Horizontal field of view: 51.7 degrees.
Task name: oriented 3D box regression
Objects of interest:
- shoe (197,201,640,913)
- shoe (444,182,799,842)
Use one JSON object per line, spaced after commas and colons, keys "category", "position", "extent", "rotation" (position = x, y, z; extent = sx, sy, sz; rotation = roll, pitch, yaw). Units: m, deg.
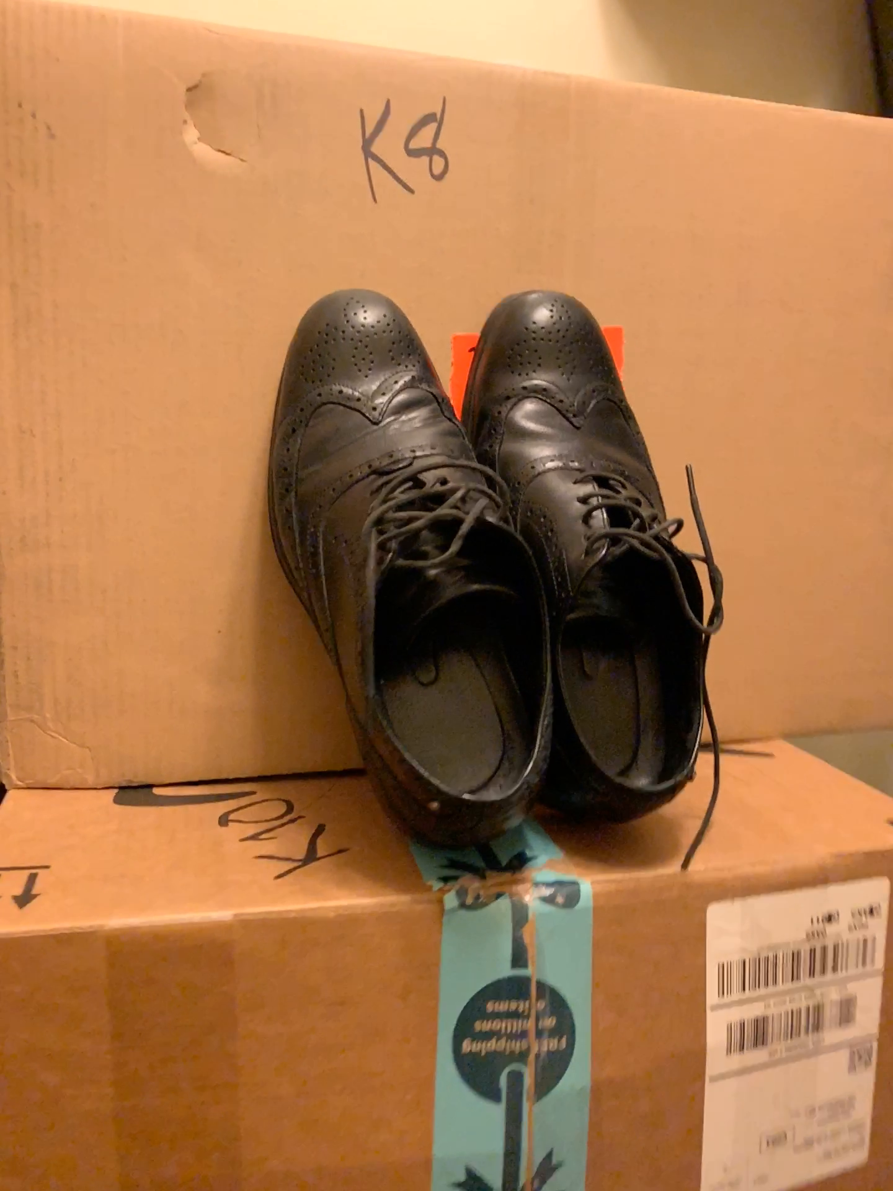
{"category": "shoe", "position": [-0.022, -0.021, 0.427], "extent": [0.120, 0.280, 0.100], "rotation": [-12, -4, -20]}
{"category": "shoe", "position": [0.077, -0.036, 0.451], "extent": [0.120, 0.280, 0.100], "rotation": [-1, -6, -17]}
